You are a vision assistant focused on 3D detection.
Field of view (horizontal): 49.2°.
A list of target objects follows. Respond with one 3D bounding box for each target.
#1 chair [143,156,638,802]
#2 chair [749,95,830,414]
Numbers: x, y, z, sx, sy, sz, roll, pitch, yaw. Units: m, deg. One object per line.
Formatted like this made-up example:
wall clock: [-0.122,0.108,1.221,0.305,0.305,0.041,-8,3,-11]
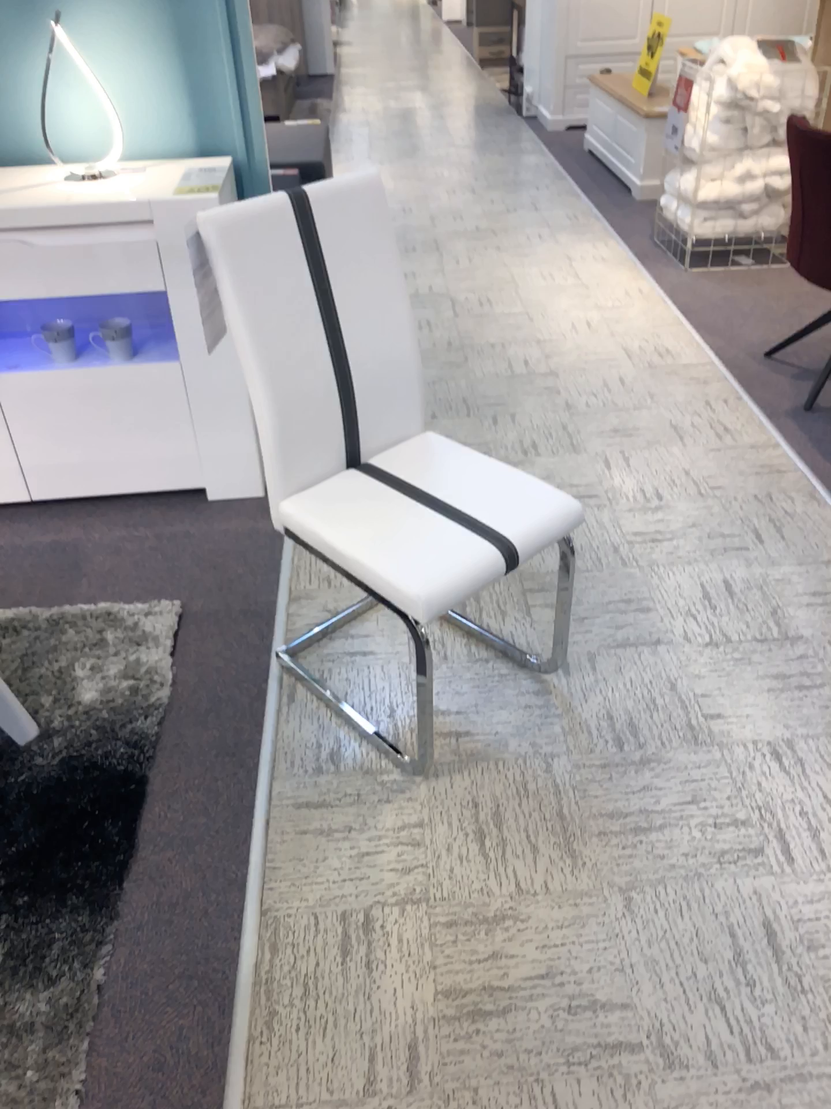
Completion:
chair: [-0.034,-0.155,1.606,0.489,0.878,0.570,-28,42,-32]
chair: [1.588,-1.016,3.084,0.569,0.878,0.540,-5,35,-3]
